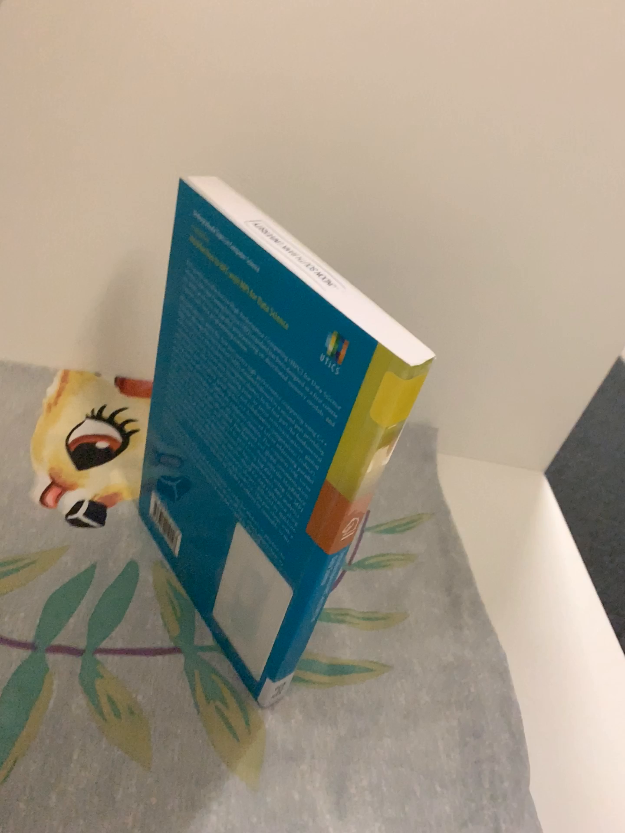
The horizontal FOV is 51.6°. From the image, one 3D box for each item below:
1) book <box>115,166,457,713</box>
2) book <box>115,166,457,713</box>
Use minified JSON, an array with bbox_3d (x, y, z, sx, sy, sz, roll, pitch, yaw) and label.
[{"bbox_3d":[-0.040,0.017,0.337,0.030,0.228,0.171,-16,48,-39],"label":"book"},{"bbox_3d":[-0.040,0.017,0.337,0.030,0.228,0.171,-16,48,-39],"label":"book"}]
